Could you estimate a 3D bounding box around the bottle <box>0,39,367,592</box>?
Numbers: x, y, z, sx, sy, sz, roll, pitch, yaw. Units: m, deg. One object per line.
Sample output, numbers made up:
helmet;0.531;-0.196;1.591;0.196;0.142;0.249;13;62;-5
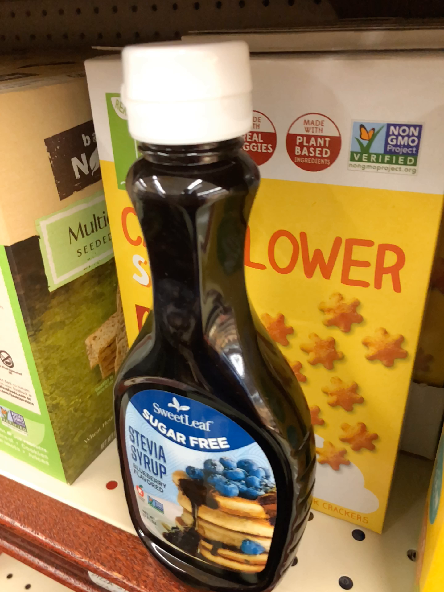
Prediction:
bottle;-0.007;0.025;0.173;0.080;0.199;0.050;14;34;27
